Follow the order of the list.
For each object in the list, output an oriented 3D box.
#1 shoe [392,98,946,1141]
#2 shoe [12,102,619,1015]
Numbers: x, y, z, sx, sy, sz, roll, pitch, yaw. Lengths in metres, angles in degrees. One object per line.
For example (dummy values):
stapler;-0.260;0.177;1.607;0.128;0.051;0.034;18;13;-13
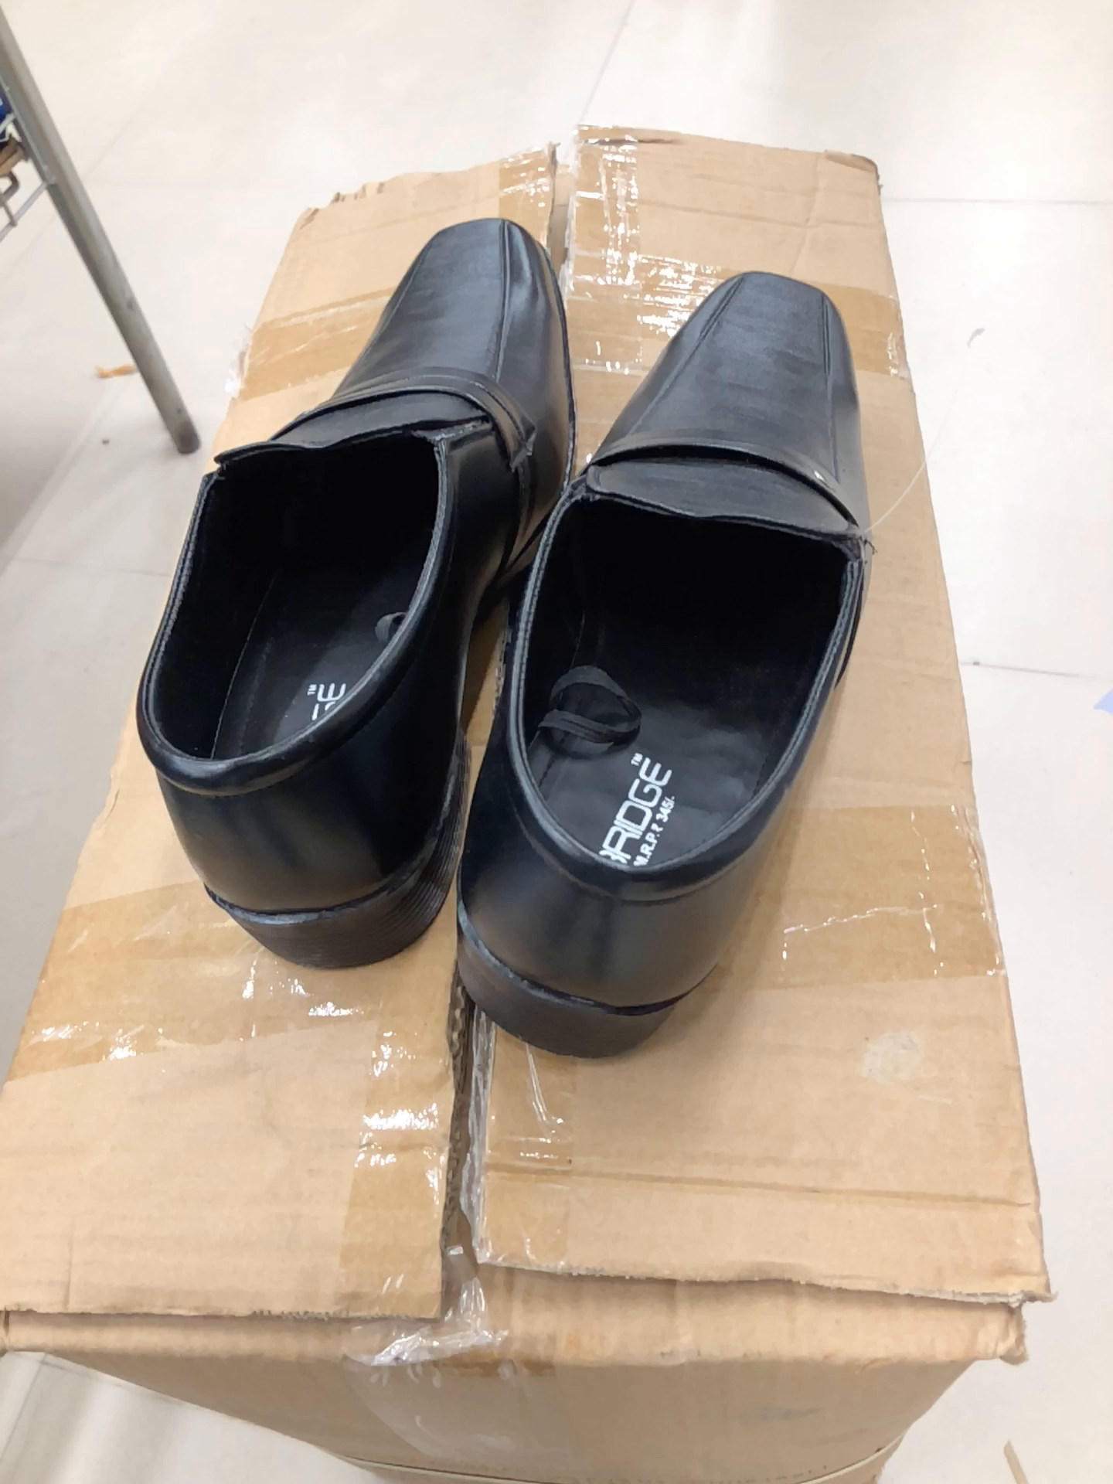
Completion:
shoe;0.044;-0.053;0.400;0.100;0.129;0.312;14;58;3
shoe;-0.052;-0.074;0.418;0.100;0.129;0.292;3;56;11
